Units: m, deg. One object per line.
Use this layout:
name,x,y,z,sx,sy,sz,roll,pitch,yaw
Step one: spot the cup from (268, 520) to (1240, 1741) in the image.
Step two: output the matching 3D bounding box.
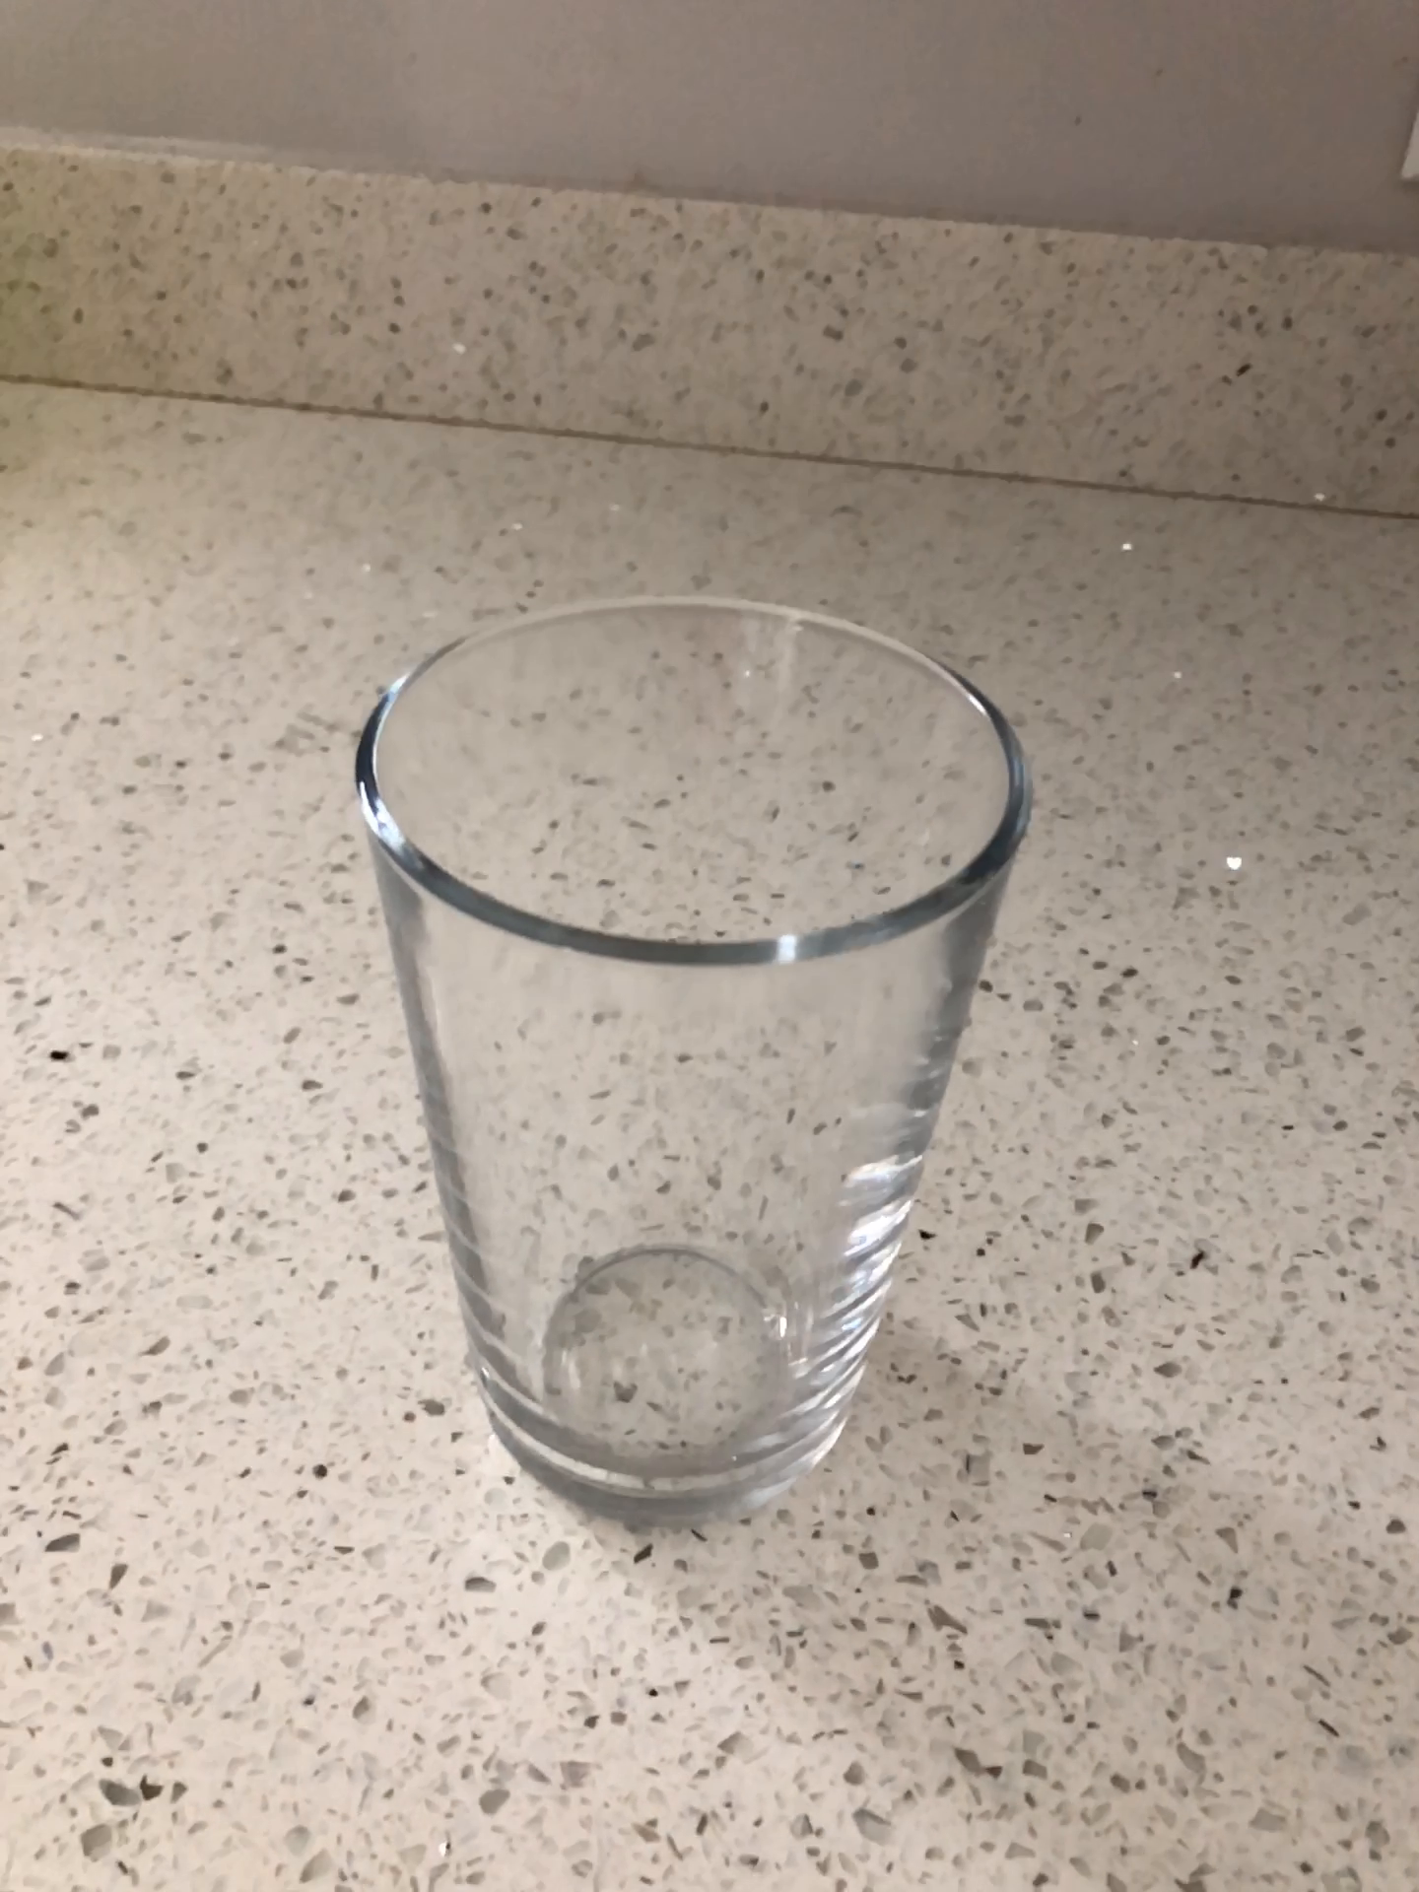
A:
cup,-0.002,0.021,0.199,0.074,0.114,0.080,2,38,-1
